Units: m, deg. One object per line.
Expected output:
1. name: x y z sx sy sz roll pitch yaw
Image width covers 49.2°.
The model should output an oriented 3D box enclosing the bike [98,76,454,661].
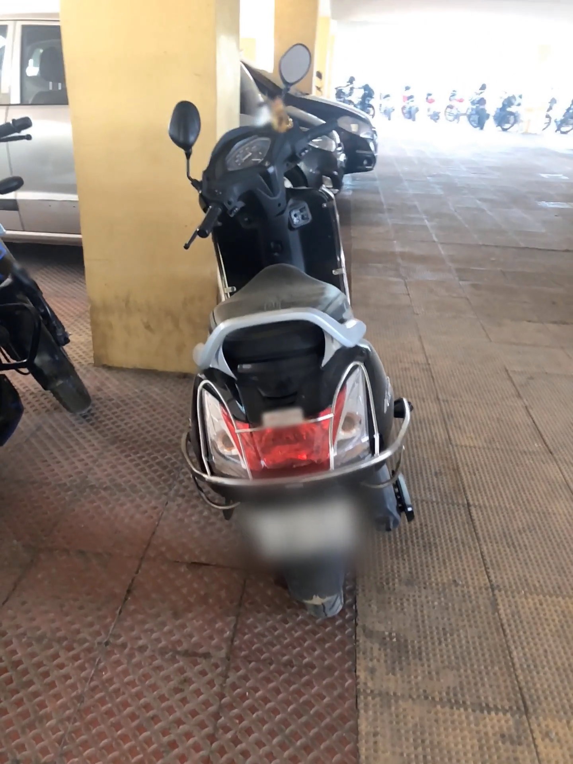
1. bike: -0.157 -0.211 1.932 0.608 1.173 1.448 -2 28 -9
